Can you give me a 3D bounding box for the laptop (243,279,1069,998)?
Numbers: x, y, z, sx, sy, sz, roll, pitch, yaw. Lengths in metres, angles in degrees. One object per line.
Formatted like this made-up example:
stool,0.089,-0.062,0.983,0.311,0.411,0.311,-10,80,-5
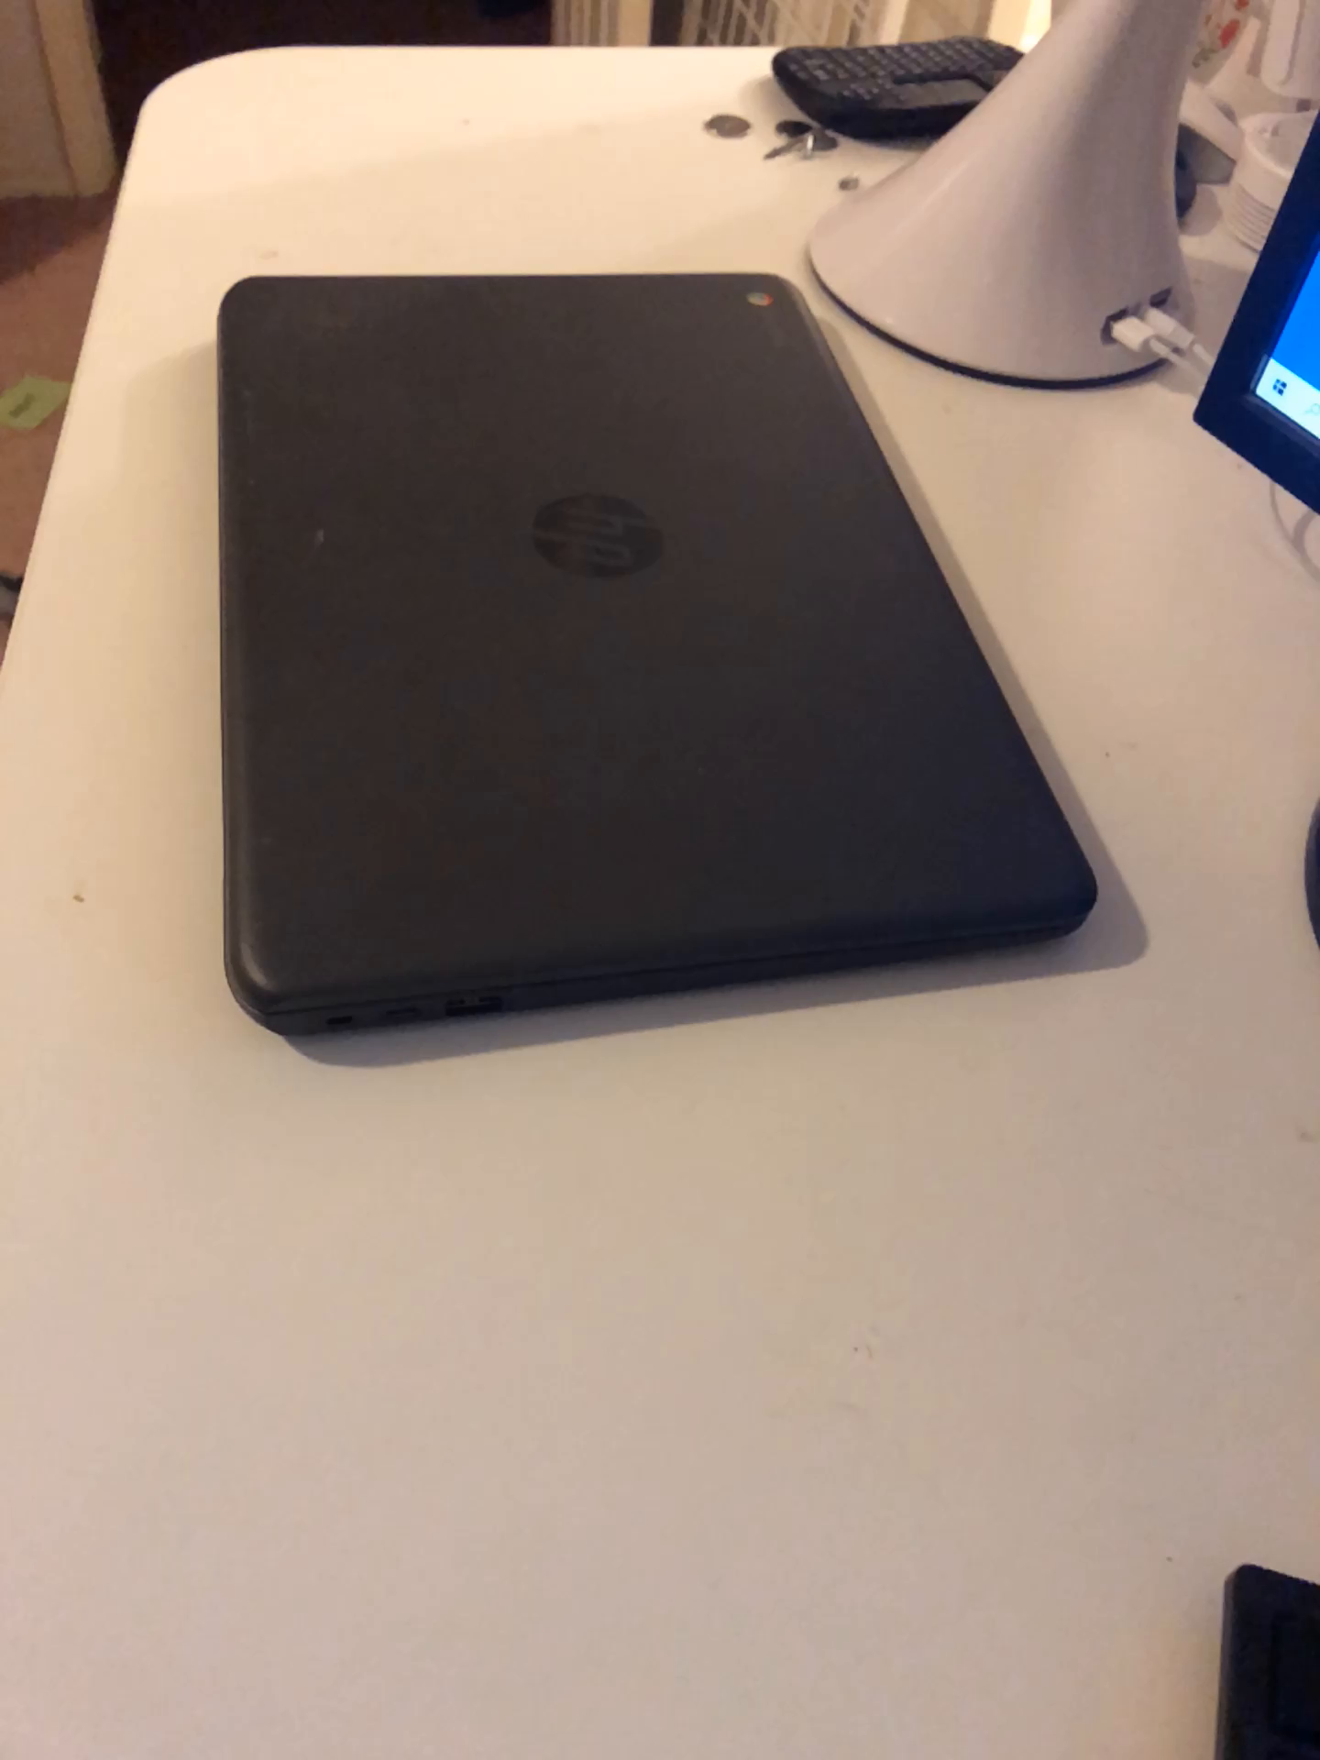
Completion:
laptop,-0.025,-0.108,0.469,0.208,0.001,0.327,-6,51,-11
